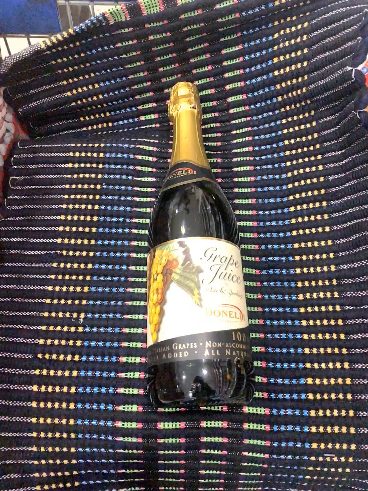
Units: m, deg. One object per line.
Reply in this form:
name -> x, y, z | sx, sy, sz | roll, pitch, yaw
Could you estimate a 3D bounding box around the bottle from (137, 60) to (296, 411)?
bottle -> 0.009, -0.029, 0.323 | 0.090, 0.080, 0.300 | -1, 59, -4
